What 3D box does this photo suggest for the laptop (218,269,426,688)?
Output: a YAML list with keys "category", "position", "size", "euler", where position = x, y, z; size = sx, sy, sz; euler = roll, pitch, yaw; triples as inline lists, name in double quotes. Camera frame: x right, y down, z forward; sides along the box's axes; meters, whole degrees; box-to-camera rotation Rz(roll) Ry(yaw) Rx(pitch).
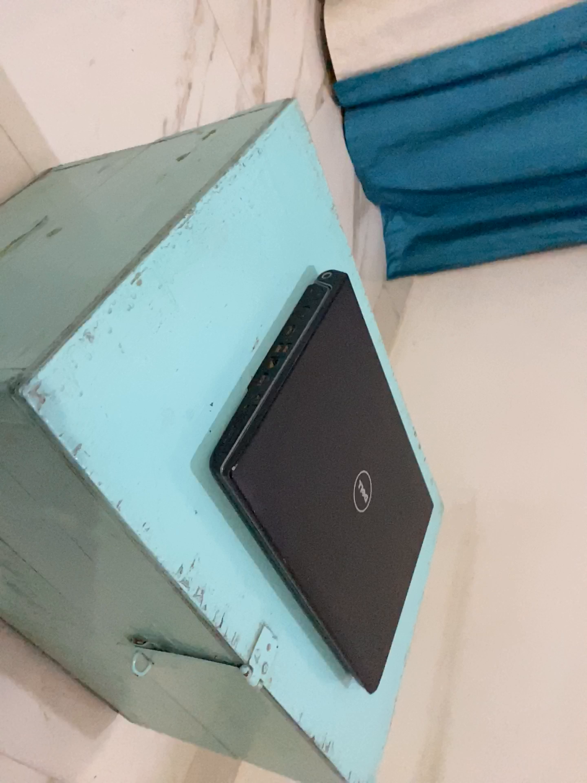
- category: "laptop"
  position: [0.064, 0.106, 0.664]
  size: [0.270, 0.004, 0.385]
  euler: [-60, 137, -38]
